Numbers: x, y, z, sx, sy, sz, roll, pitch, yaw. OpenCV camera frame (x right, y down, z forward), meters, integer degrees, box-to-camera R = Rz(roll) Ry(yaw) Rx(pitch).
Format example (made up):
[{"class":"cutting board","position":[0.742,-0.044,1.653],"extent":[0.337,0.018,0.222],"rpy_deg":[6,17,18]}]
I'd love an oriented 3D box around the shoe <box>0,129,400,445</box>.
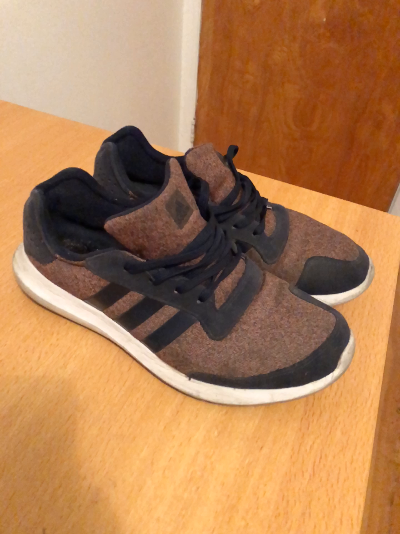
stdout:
[{"class":"shoe","position":[-0.023,-0.003,0.341],"extent":[0.310,0.099,0.131],"rpy_deg":[17,42,13]}]

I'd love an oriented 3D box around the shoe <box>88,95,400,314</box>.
[{"class":"shoe","position":[0.045,-0.068,0.408],"extent":[0.260,0.099,0.111],"rpy_deg":[17,42,13]}]
